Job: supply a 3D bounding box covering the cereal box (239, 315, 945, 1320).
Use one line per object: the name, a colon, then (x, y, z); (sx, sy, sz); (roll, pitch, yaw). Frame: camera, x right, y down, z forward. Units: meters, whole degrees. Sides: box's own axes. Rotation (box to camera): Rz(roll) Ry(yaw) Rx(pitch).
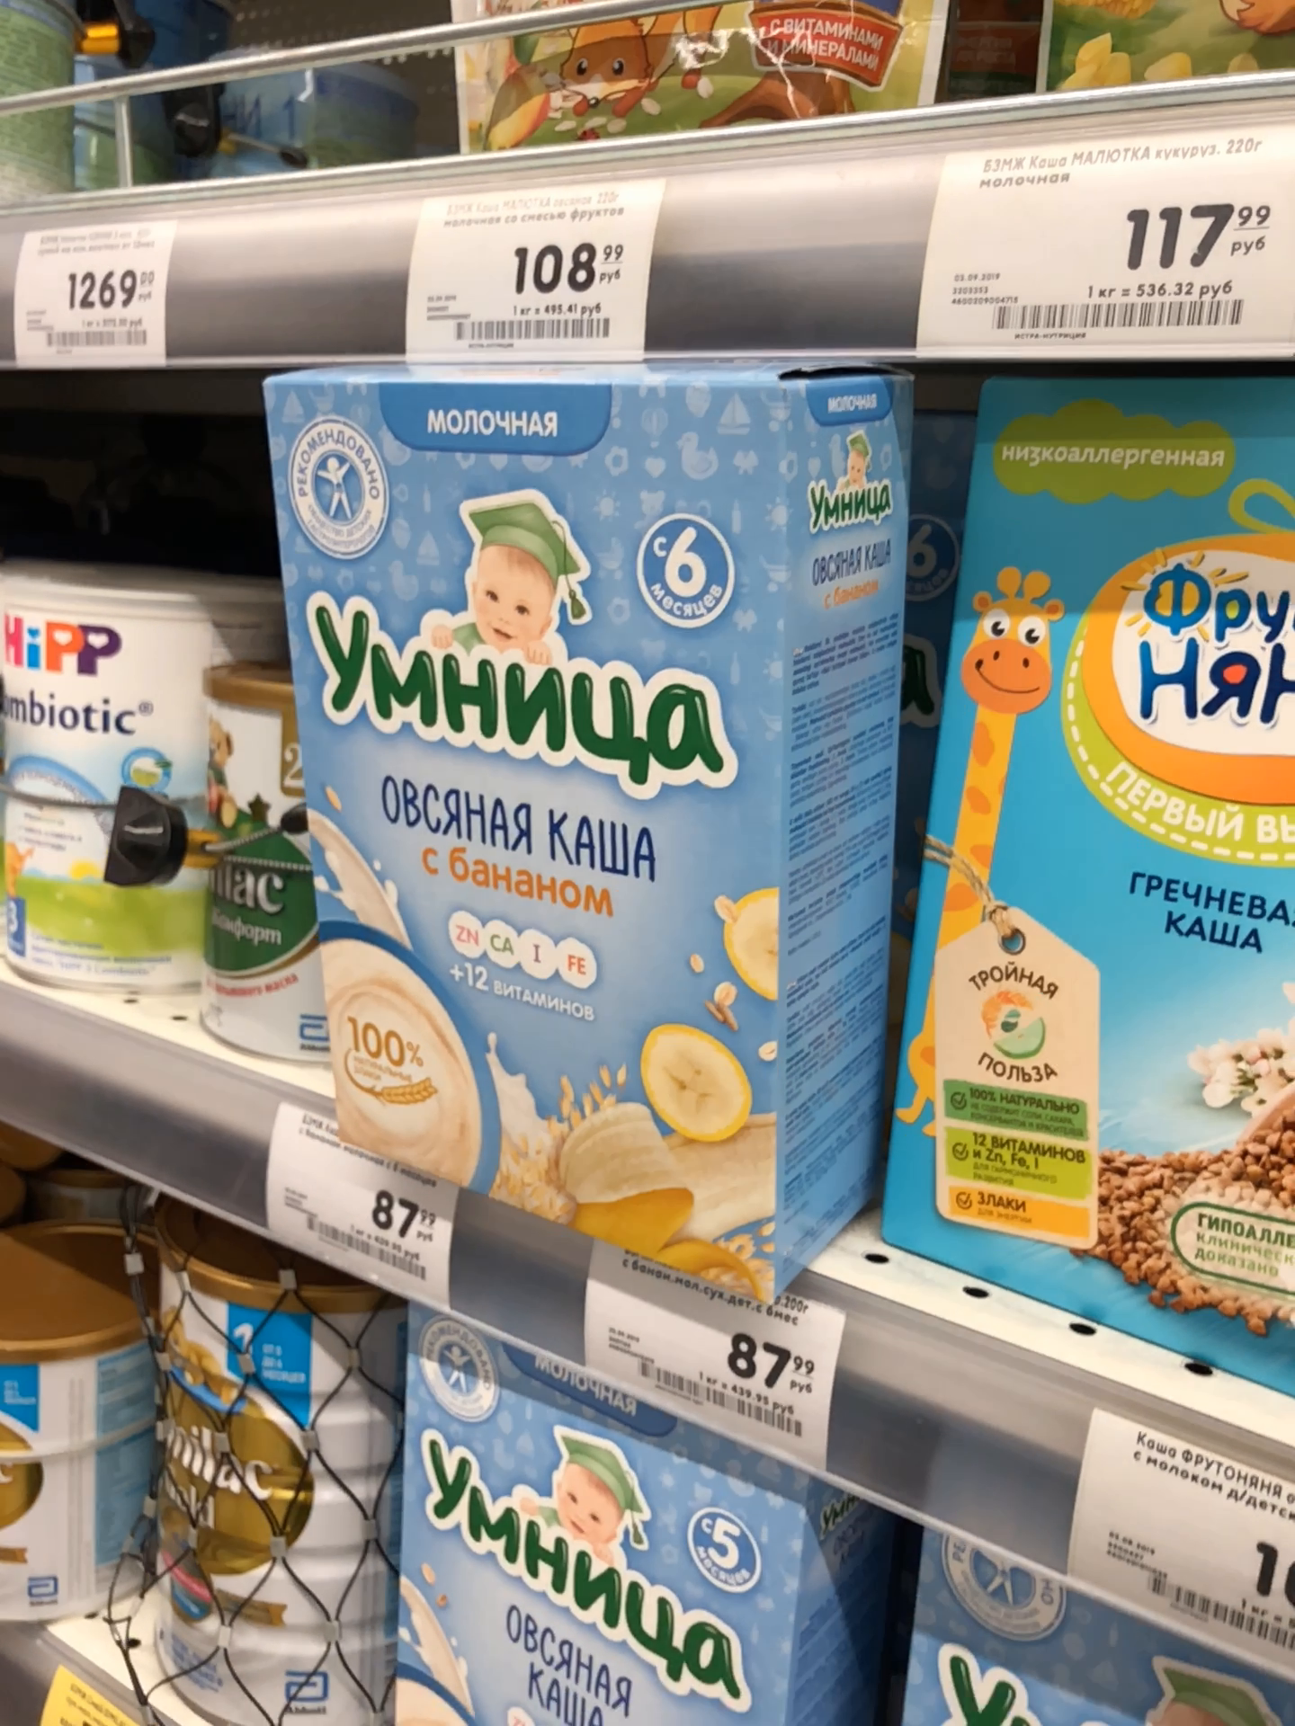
cereal box: (-0.013, -0.018, 0.352); (0.150, 0.209, 0.060); (10, 21, 32)
